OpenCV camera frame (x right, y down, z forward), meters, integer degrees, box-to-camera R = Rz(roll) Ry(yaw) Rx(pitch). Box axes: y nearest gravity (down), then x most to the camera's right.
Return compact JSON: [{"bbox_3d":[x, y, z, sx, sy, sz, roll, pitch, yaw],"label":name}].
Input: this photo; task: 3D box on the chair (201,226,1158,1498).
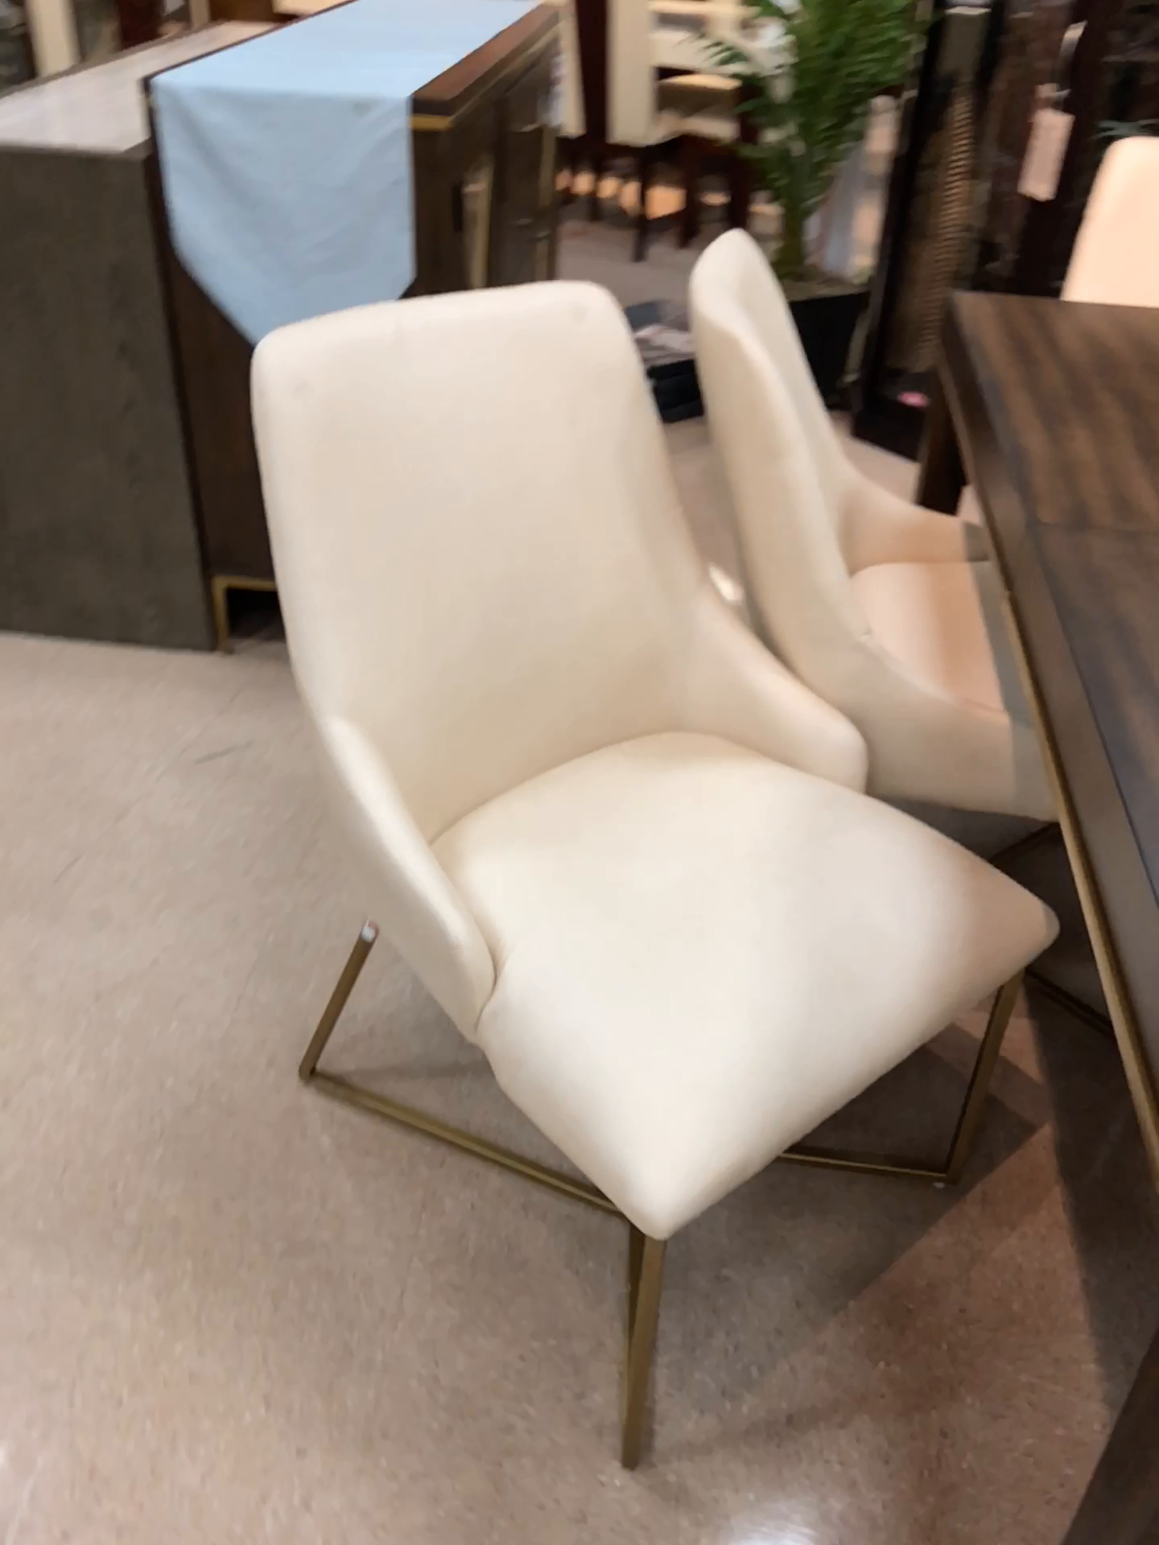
[{"bbox_3d":[0.084,0.045,1.237,0.541,0.904,0.643,-23,43,-32],"label":"chair"}]
